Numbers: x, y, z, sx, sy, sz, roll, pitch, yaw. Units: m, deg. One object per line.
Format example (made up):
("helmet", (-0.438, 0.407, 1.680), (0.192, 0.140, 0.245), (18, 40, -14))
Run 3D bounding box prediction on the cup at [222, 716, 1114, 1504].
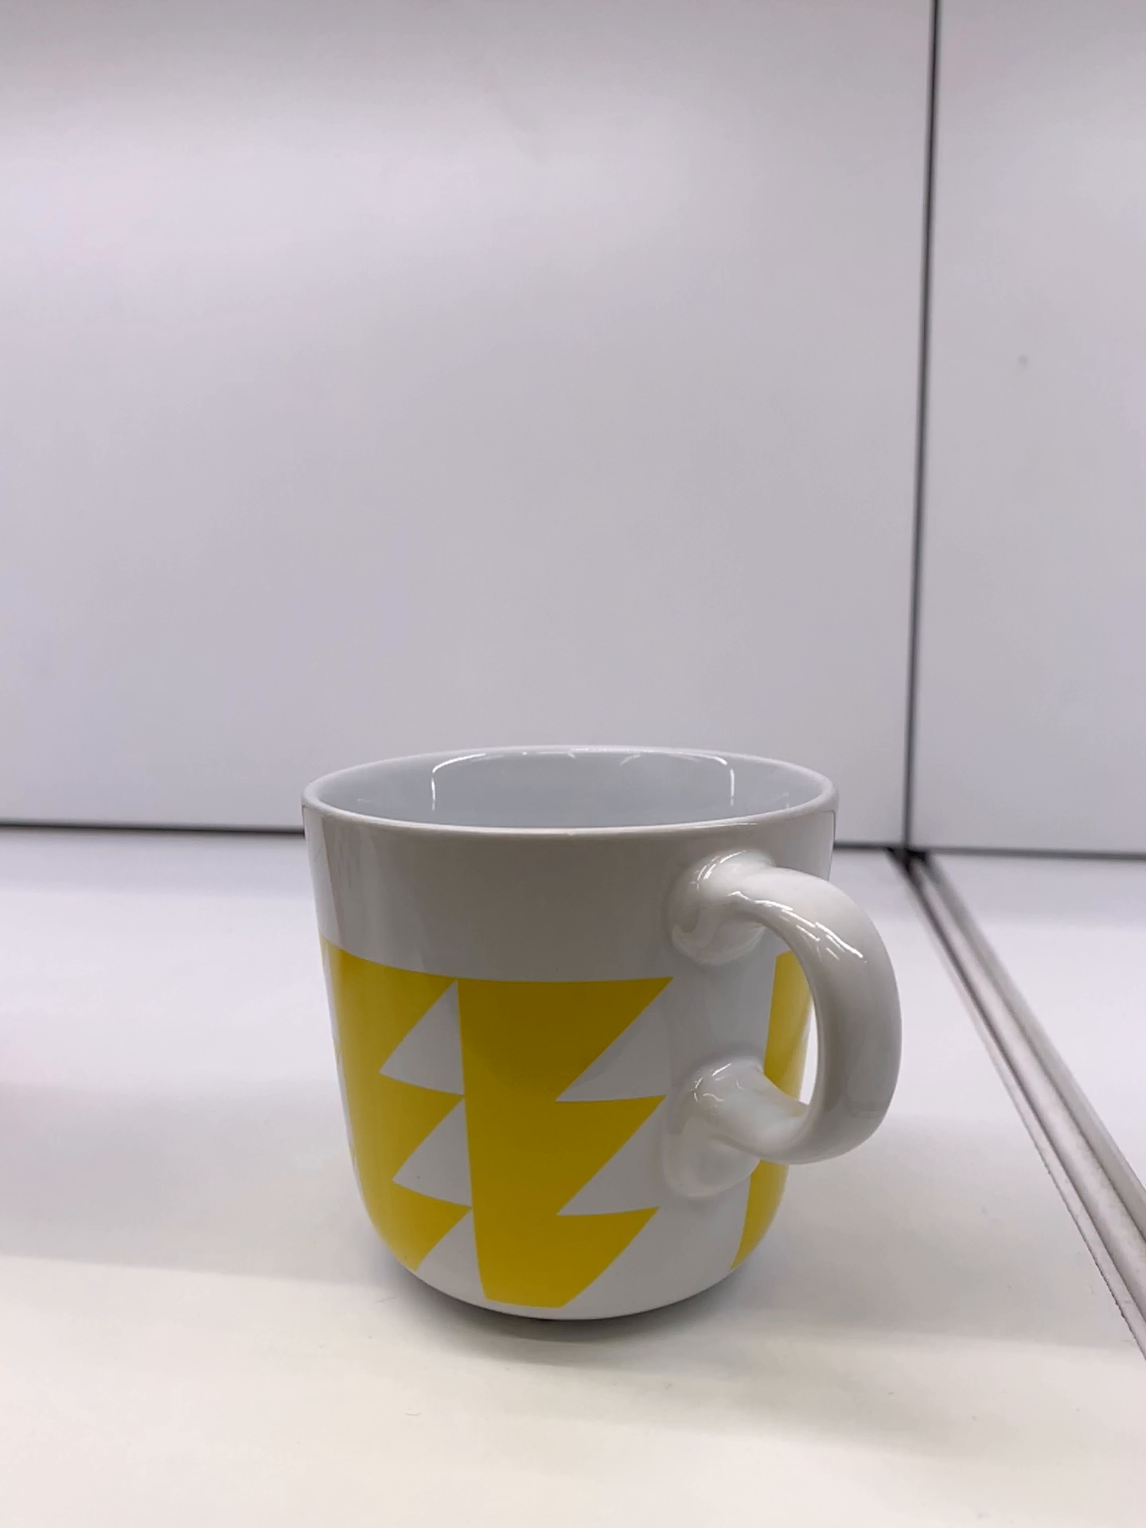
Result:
("cup", (0.006, 0.031, 0.181), (0.084, 0.065, 0.107), (-5, 9, -32))
